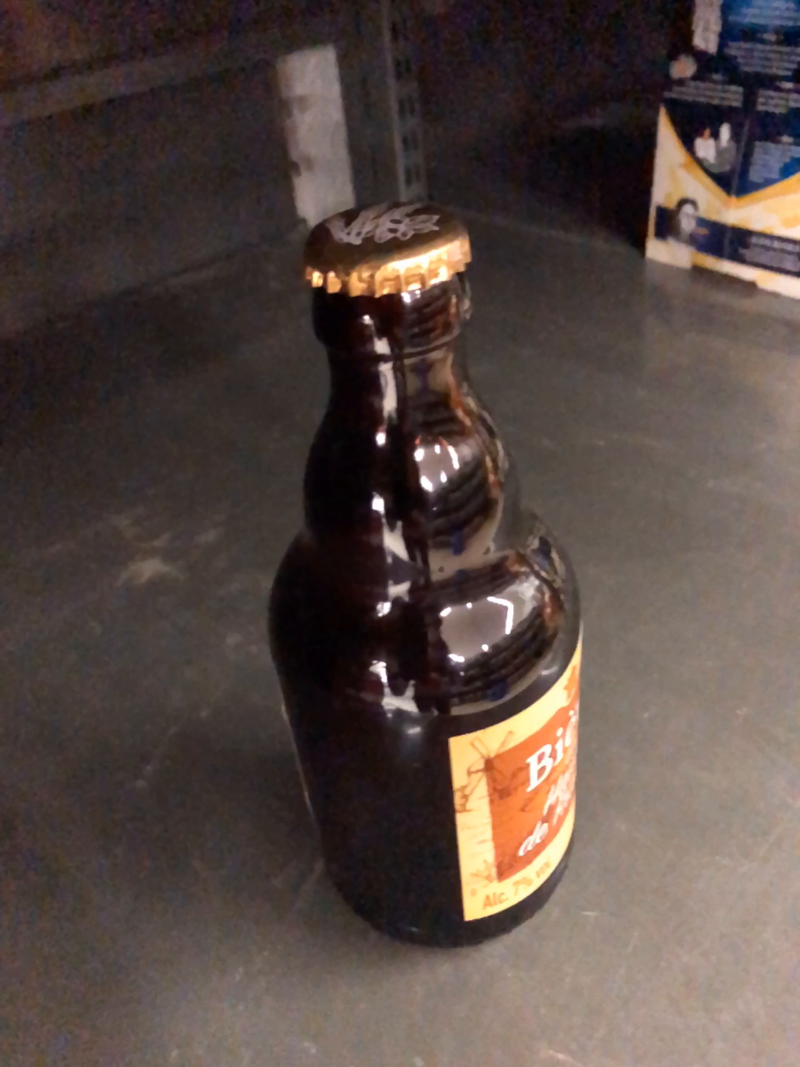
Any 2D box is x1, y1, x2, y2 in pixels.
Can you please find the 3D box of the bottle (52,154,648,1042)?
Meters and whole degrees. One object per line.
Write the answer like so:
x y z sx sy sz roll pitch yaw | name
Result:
0.003 0.021 0.199 0.070 0.179 0.070 -5 37 4 | bottle

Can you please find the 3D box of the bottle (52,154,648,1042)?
0.003 0.021 0.199 0.070 0.179 0.070 -5 37 4 | bottle
